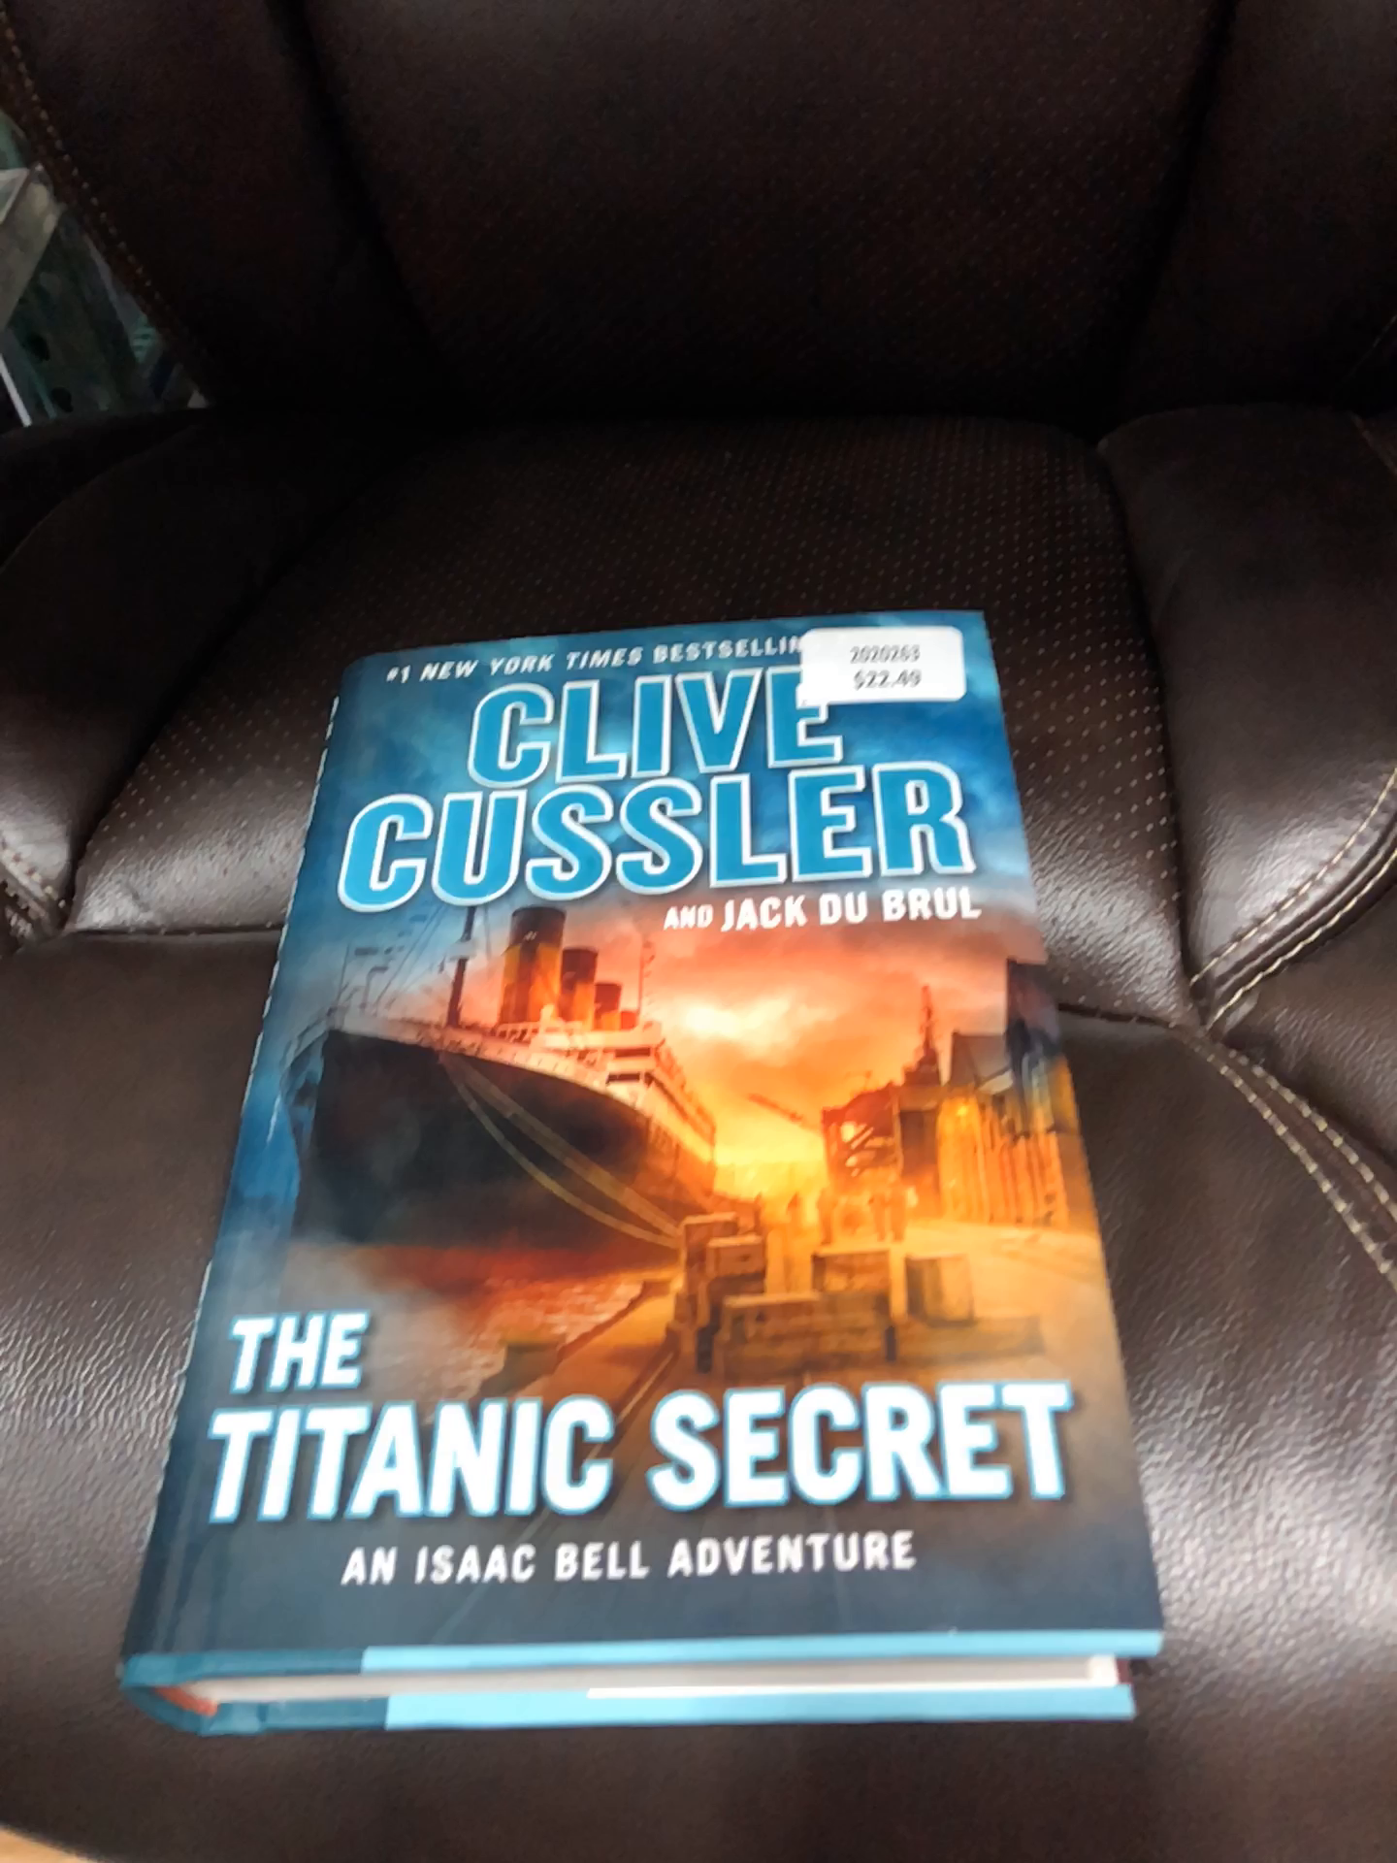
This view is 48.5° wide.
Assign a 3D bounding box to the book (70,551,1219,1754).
[{"bbox_3d":[-0.008,0.023,0.315,0.165,0.040,0.249,-4,51,5],"label":"book"}]
